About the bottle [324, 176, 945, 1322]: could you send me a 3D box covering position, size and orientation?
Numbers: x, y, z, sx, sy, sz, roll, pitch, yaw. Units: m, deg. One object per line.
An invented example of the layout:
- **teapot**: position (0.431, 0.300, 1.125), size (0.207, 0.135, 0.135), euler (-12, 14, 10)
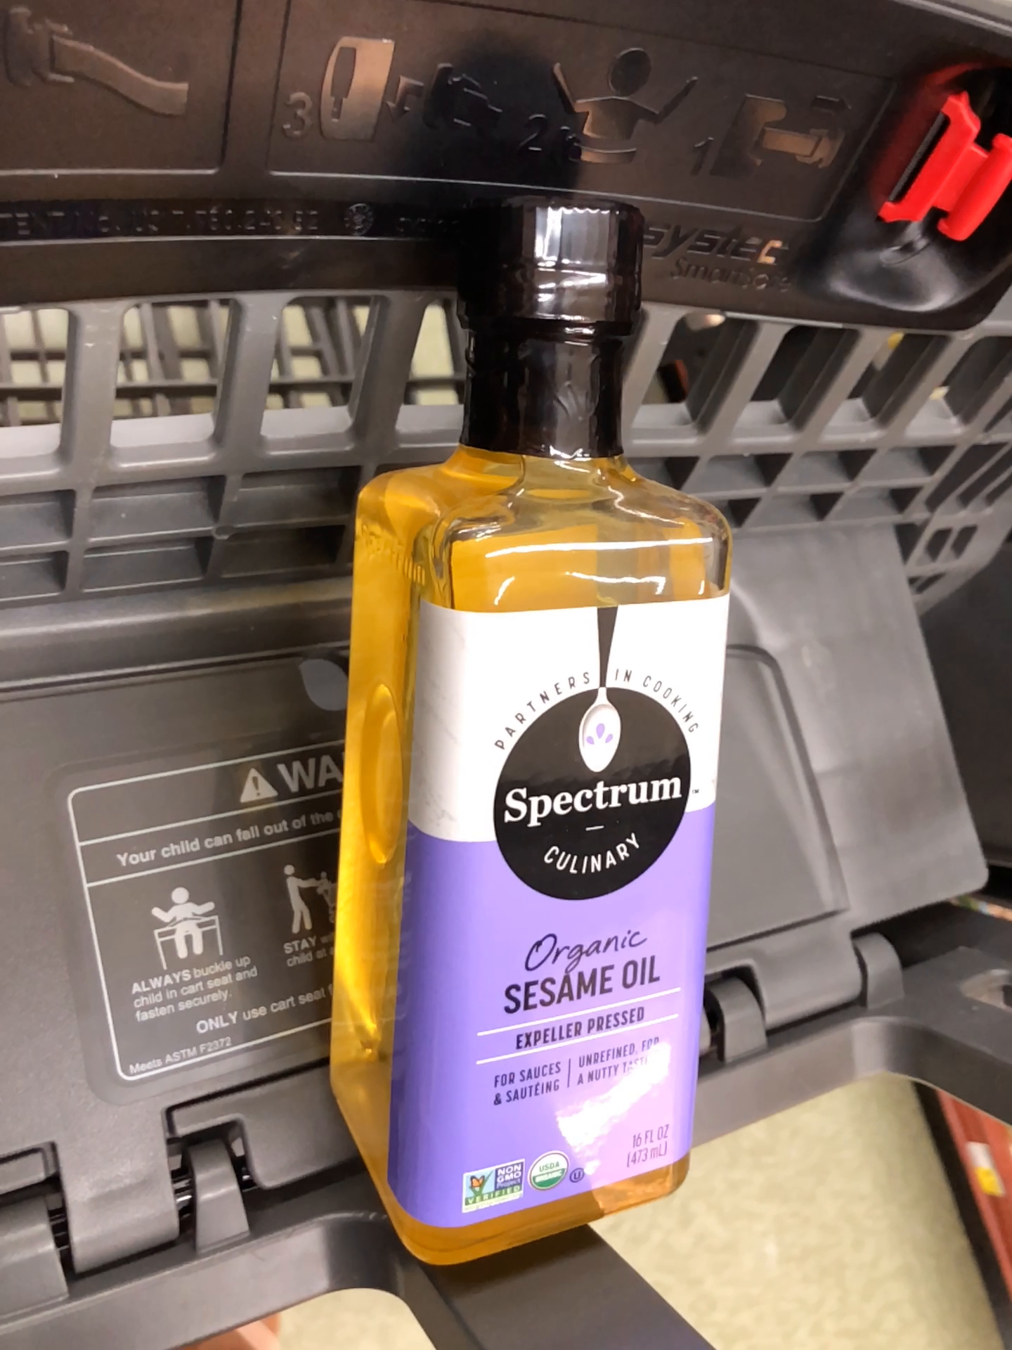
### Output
- **bottle**: position (0.014, 0.015, 0.227), size (0.080, 0.065, 0.200), euler (-5, 111, -26)
